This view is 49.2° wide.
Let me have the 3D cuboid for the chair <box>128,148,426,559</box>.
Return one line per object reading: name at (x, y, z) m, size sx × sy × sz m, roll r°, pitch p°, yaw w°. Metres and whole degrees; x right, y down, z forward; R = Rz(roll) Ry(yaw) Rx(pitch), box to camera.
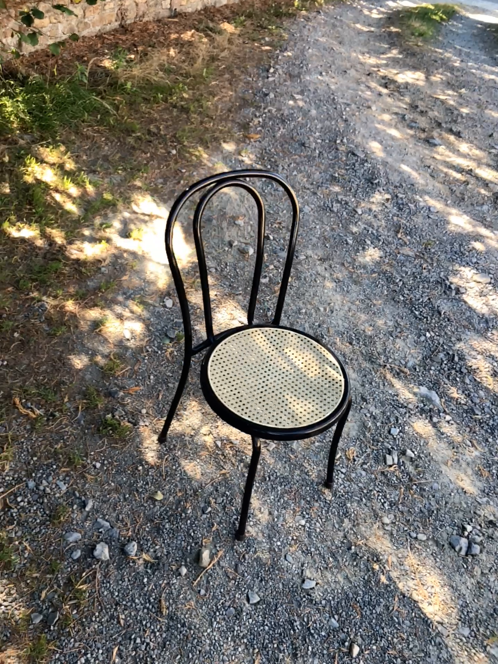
chair at (0.009, 0.067, 1.414) m, size 0.432 × 0.875 × 0.471 m, roll -21°, pitch 47°, yaw -30°
